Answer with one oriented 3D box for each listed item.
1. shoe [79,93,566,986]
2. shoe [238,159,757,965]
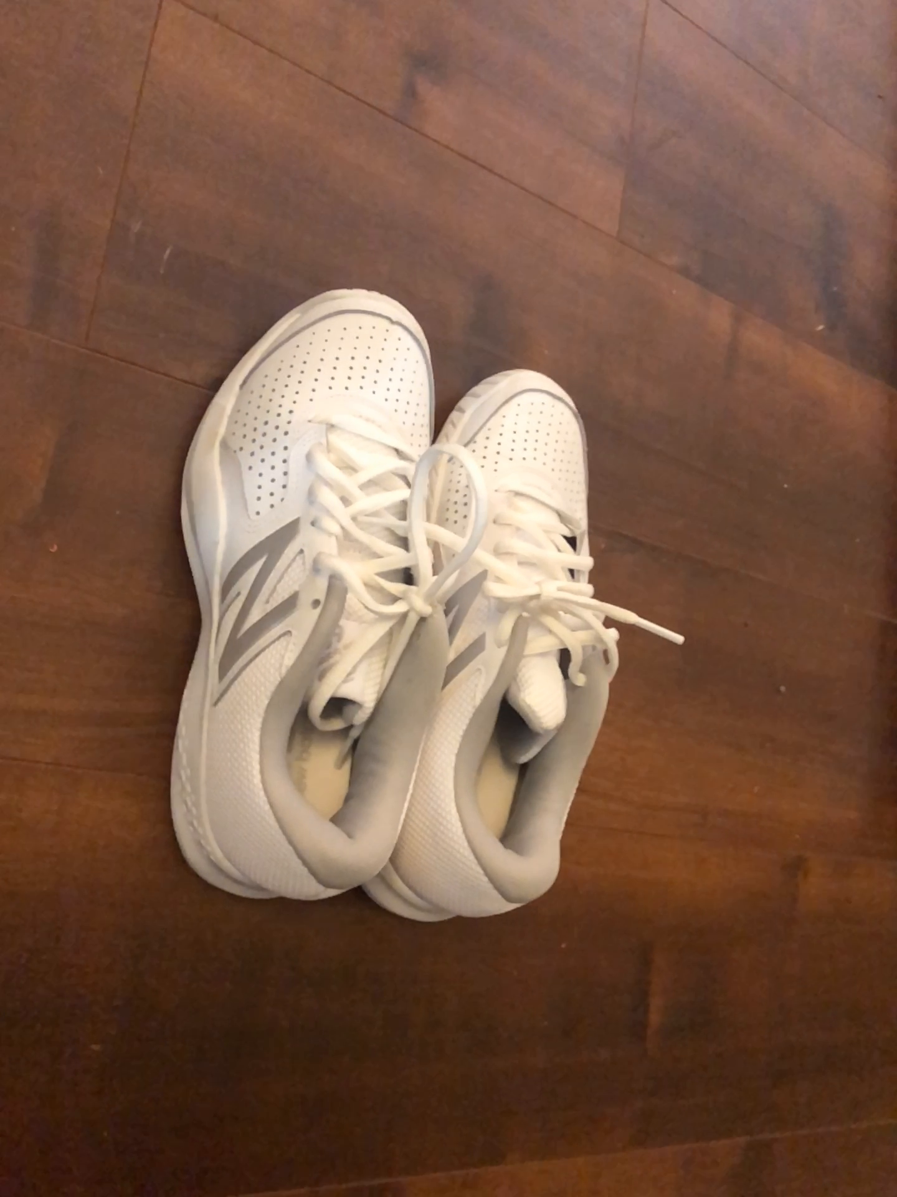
[{"bbox_3d":[-0.053,-0.018,0.413,0.100,0.130,0.310,16,78,-32],"label":"shoe"},{"bbox_3d":[0.021,-0.010,0.477,0.120,0.169,0.310,18,76,-28],"label":"shoe"}]
